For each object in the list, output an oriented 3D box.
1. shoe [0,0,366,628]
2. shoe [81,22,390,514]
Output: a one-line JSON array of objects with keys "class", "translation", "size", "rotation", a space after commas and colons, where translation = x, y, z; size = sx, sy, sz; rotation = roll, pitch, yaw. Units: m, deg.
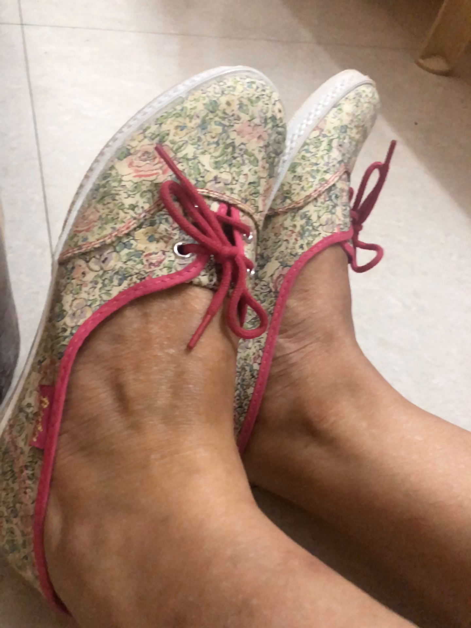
[{"class": "shoe", "translation": [-0.034, 0.002, 0.234], "size": [0.070, 0.090, 0.260], "rotation": [15, 82, 44]}, {"class": "shoe", "translation": [0.012, -0.027, 0.316], "size": [0.070, 0.090, 0.260], "rotation": [20, 82, 16]}]
